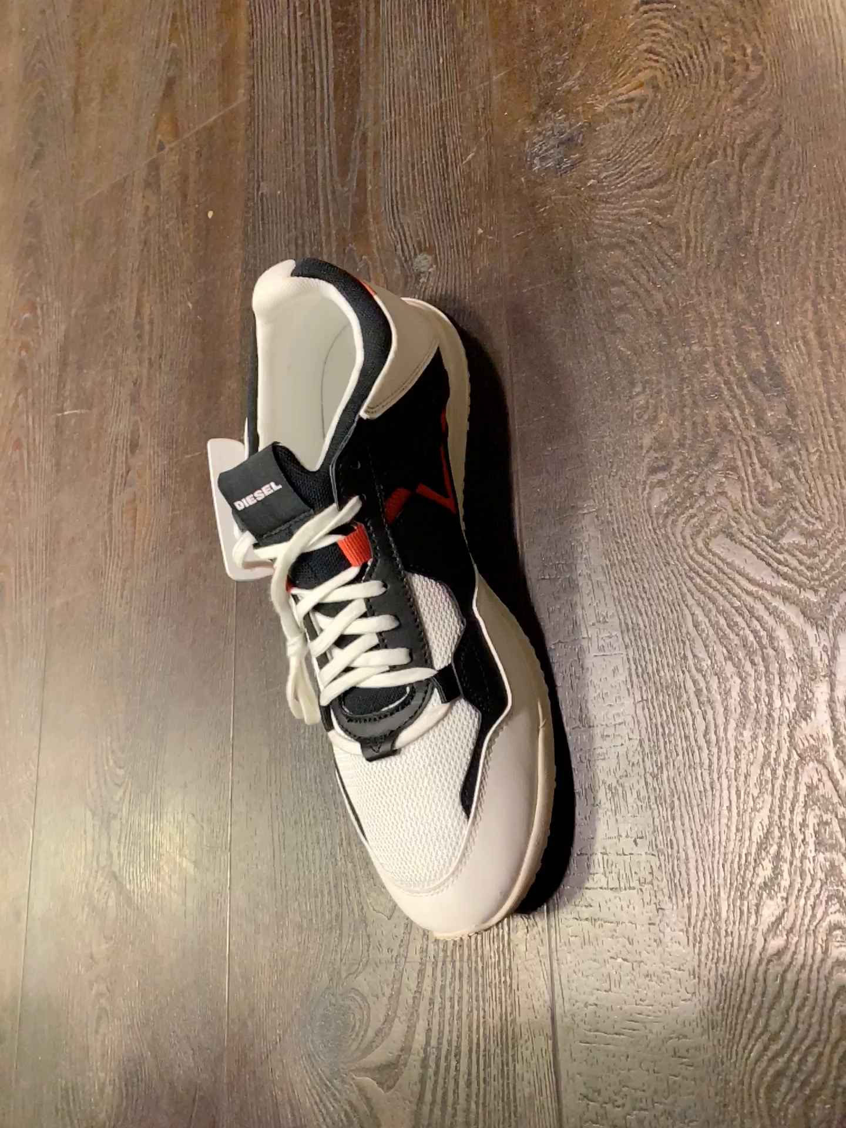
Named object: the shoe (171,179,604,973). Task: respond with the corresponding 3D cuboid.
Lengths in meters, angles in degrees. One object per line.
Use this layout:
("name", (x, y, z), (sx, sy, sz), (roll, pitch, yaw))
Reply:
("shoe", (-0.024, 0.005, 0.387), (0.110, 0.109, 0.301), (-21, 67, 30))
